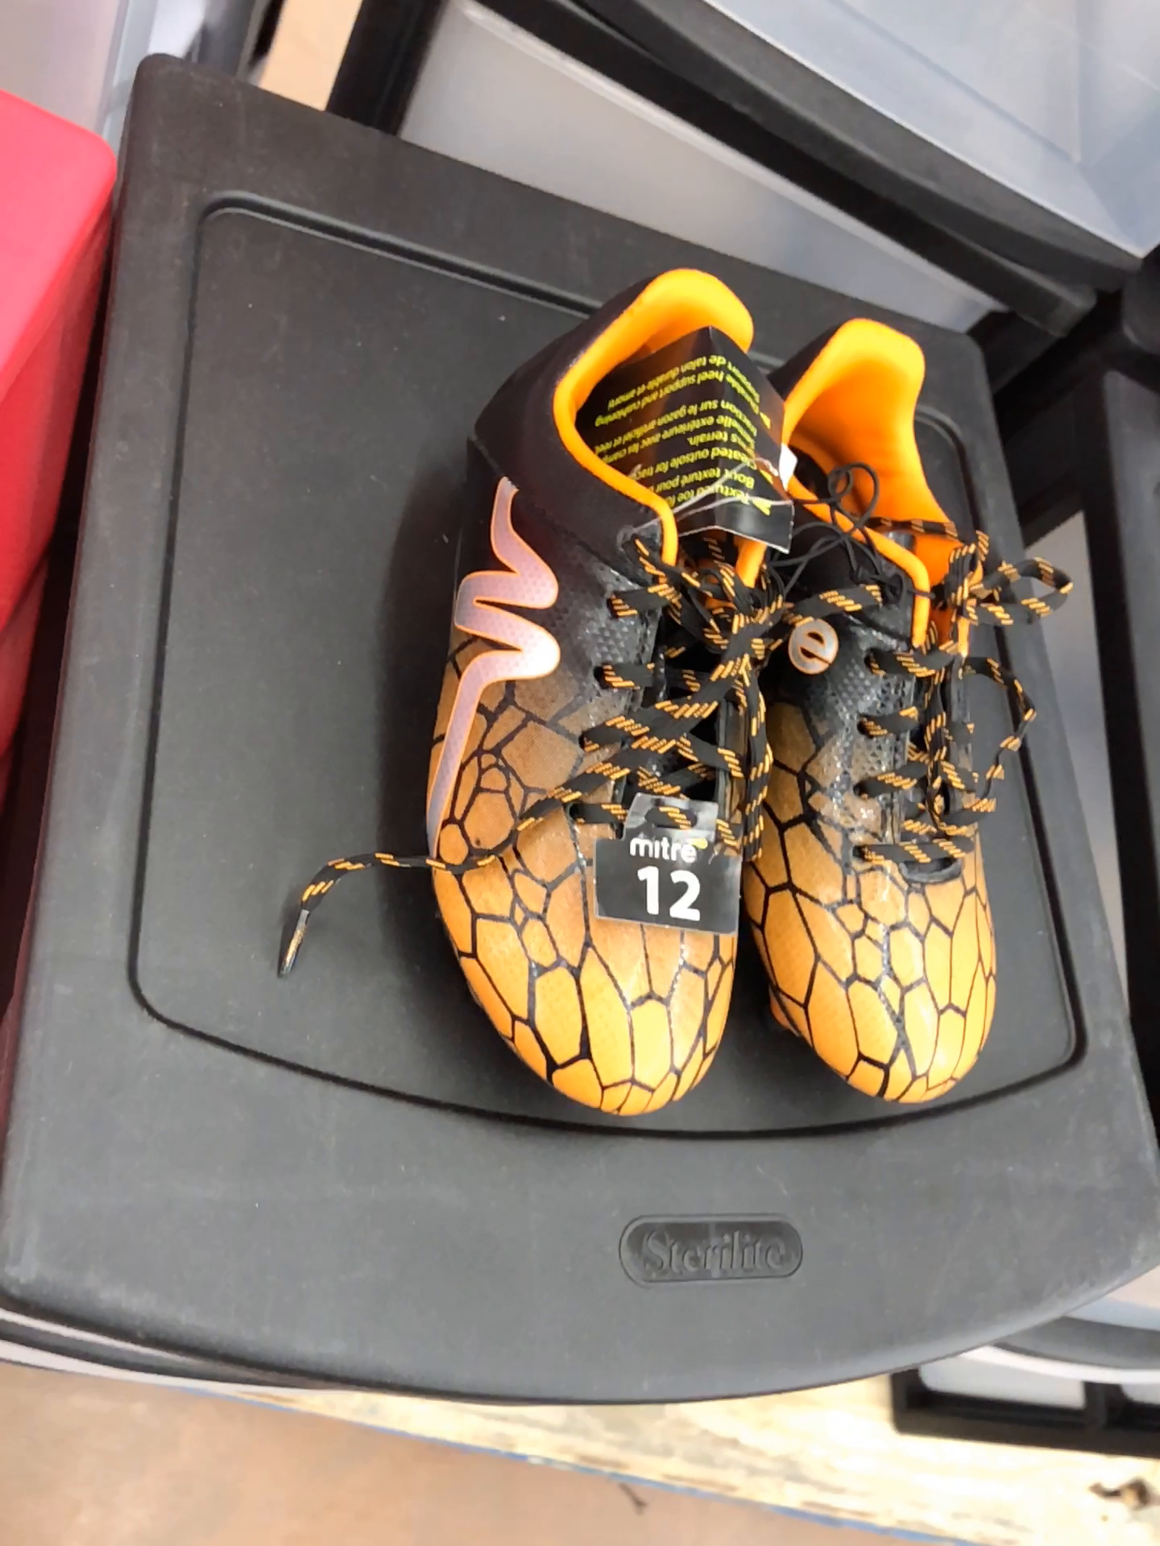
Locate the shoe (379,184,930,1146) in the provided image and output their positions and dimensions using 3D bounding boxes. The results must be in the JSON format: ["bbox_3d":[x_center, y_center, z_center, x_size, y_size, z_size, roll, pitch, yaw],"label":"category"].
[{"bbox_3d":[0.007,-0.022,0.306,0.080,0.080,0.200,5,67,-25],"label":"shoe"}]

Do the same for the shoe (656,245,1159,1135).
[{"bbox_3d":[0.083,-0.019,0.324,0.080,0.070,0.200,4,67,-26],"label":"shoe"}]
